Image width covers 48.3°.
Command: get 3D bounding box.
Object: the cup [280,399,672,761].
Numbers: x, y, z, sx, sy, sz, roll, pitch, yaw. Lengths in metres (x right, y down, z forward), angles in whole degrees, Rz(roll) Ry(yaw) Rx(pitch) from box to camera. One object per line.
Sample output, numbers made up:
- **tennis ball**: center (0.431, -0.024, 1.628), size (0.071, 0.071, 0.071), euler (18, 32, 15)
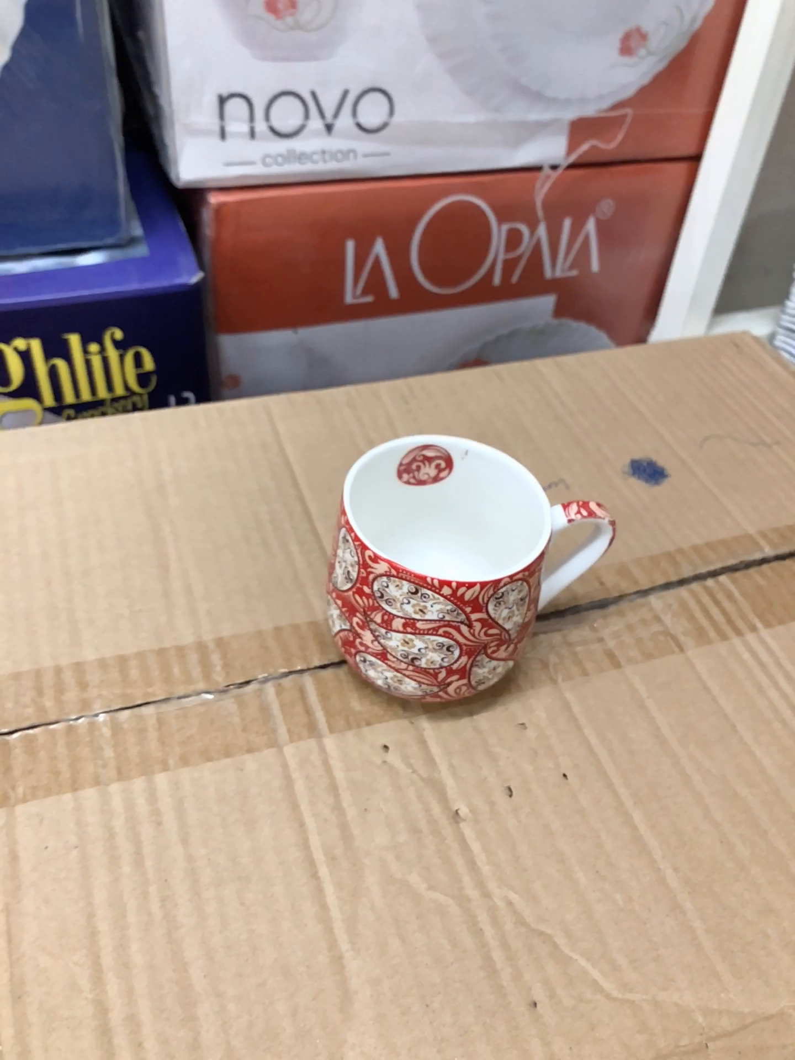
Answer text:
- **cup**: center (0.019, 0.011, 0.273), size (0.090, 0.060, 0.070), euler (-14, 45, -21)
